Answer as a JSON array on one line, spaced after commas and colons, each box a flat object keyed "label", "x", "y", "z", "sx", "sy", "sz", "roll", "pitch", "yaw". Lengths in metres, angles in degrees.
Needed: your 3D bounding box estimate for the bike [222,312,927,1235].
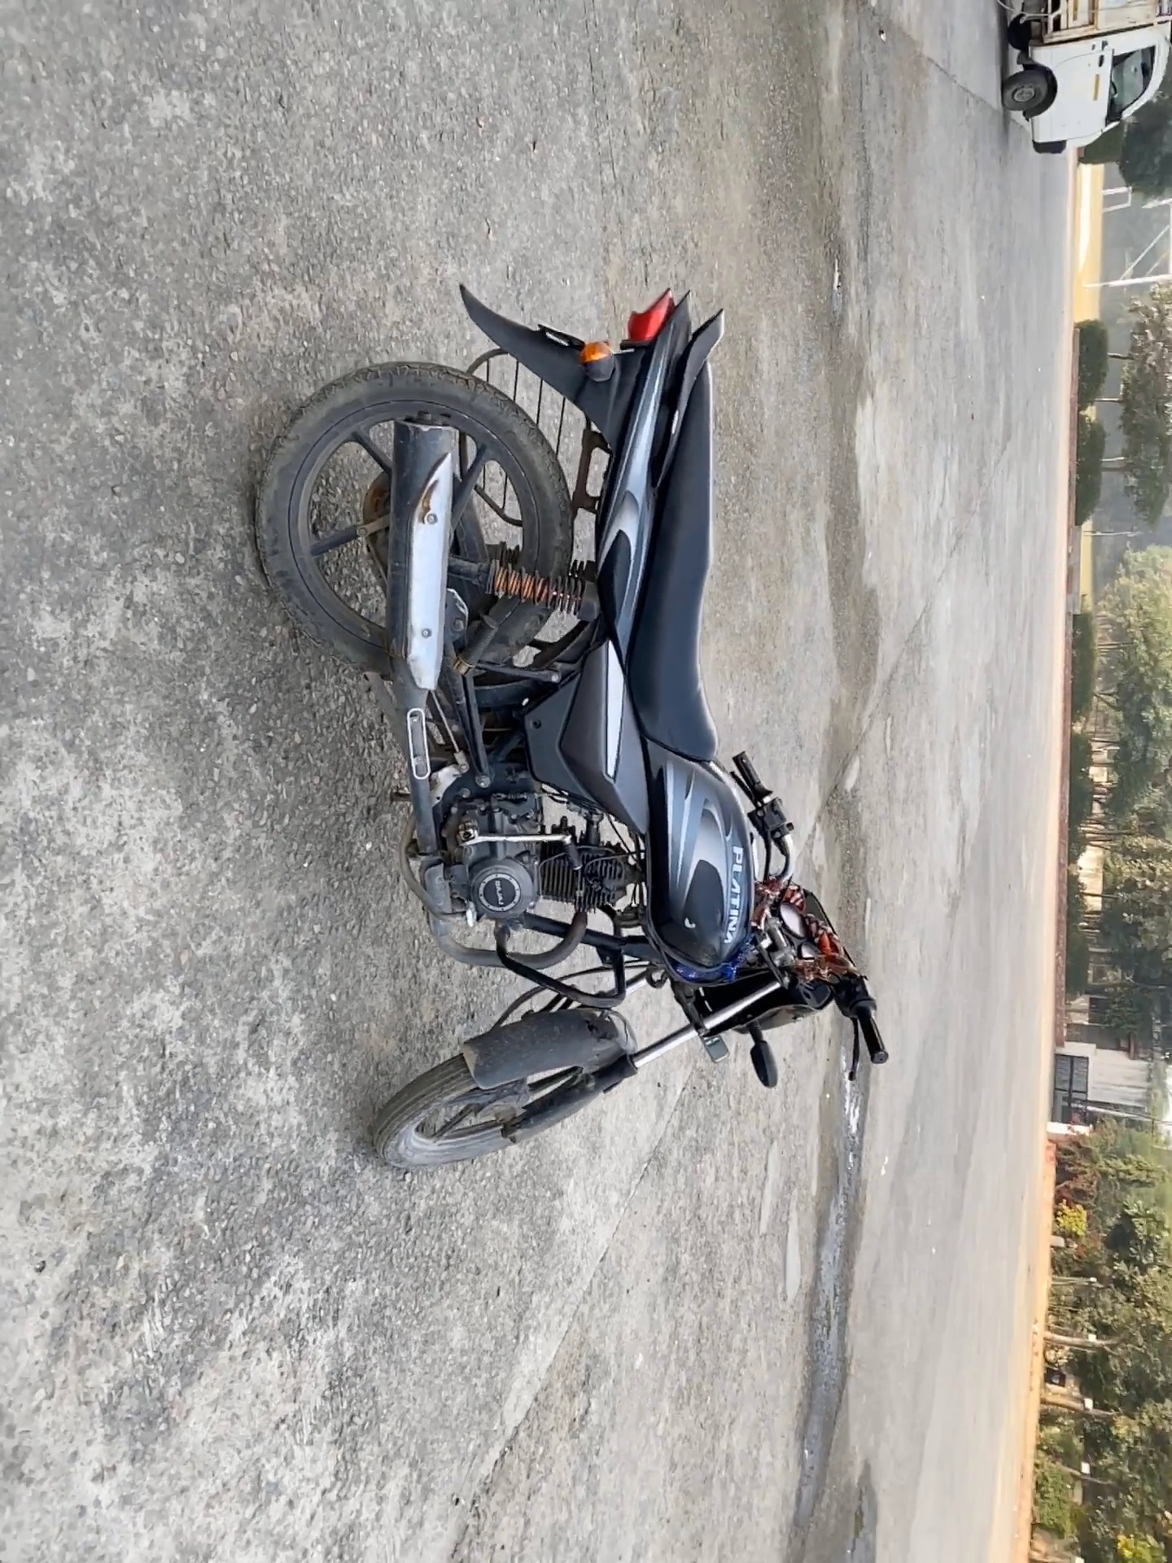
[{"label": "bike", "x": 0.125, "y": -0.012, "z": 2.569, "sx": 0.774, "sy": 1.079, "sz": 1.739, "roll": -50, "pitch": 138, "yaw": -55}]
